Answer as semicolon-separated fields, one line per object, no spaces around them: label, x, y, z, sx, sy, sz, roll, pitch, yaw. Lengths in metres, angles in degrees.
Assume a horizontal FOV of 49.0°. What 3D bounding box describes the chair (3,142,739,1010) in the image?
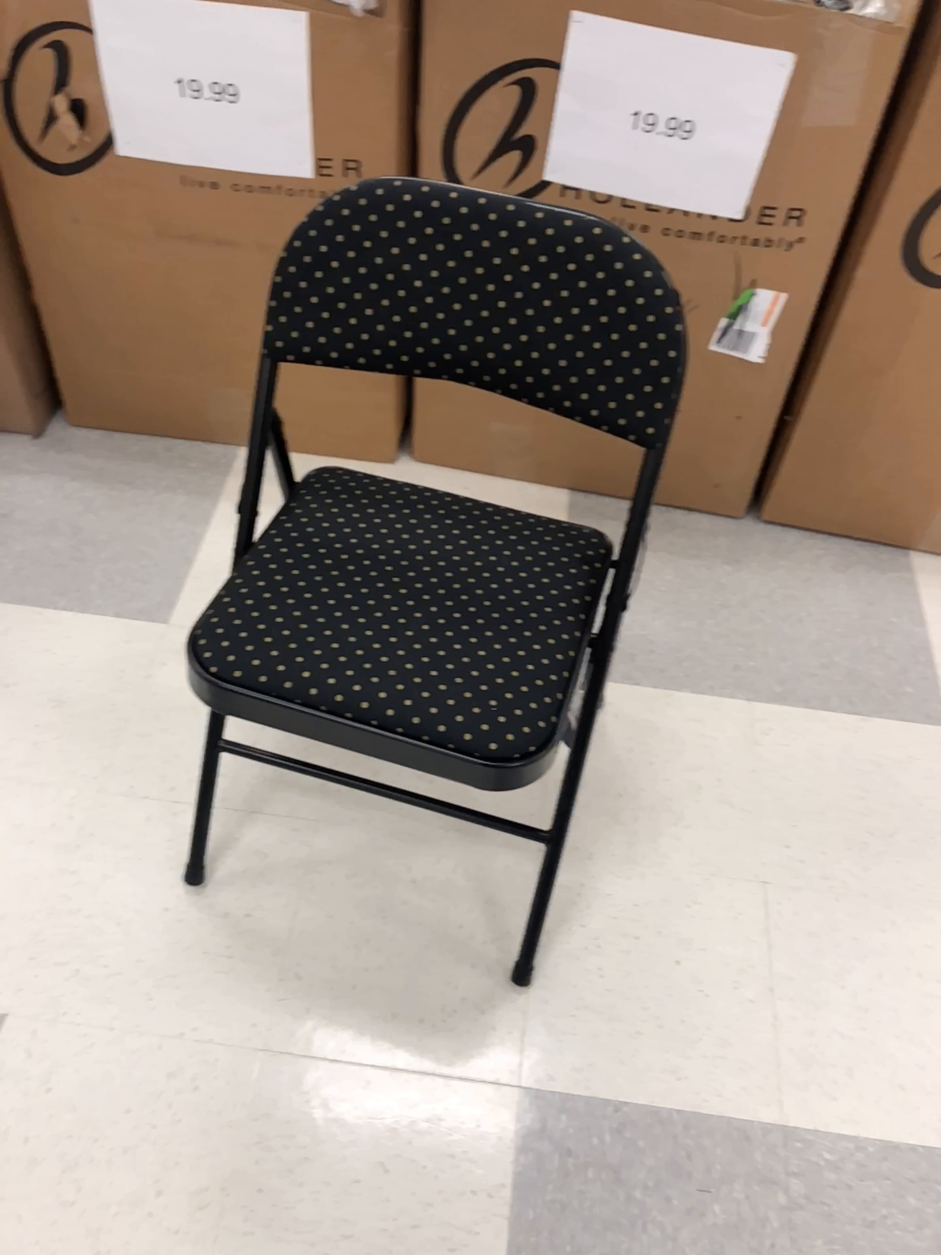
chair;-0.056;-0.029;1.174;0.484;0.729;0.541;14;50;8
